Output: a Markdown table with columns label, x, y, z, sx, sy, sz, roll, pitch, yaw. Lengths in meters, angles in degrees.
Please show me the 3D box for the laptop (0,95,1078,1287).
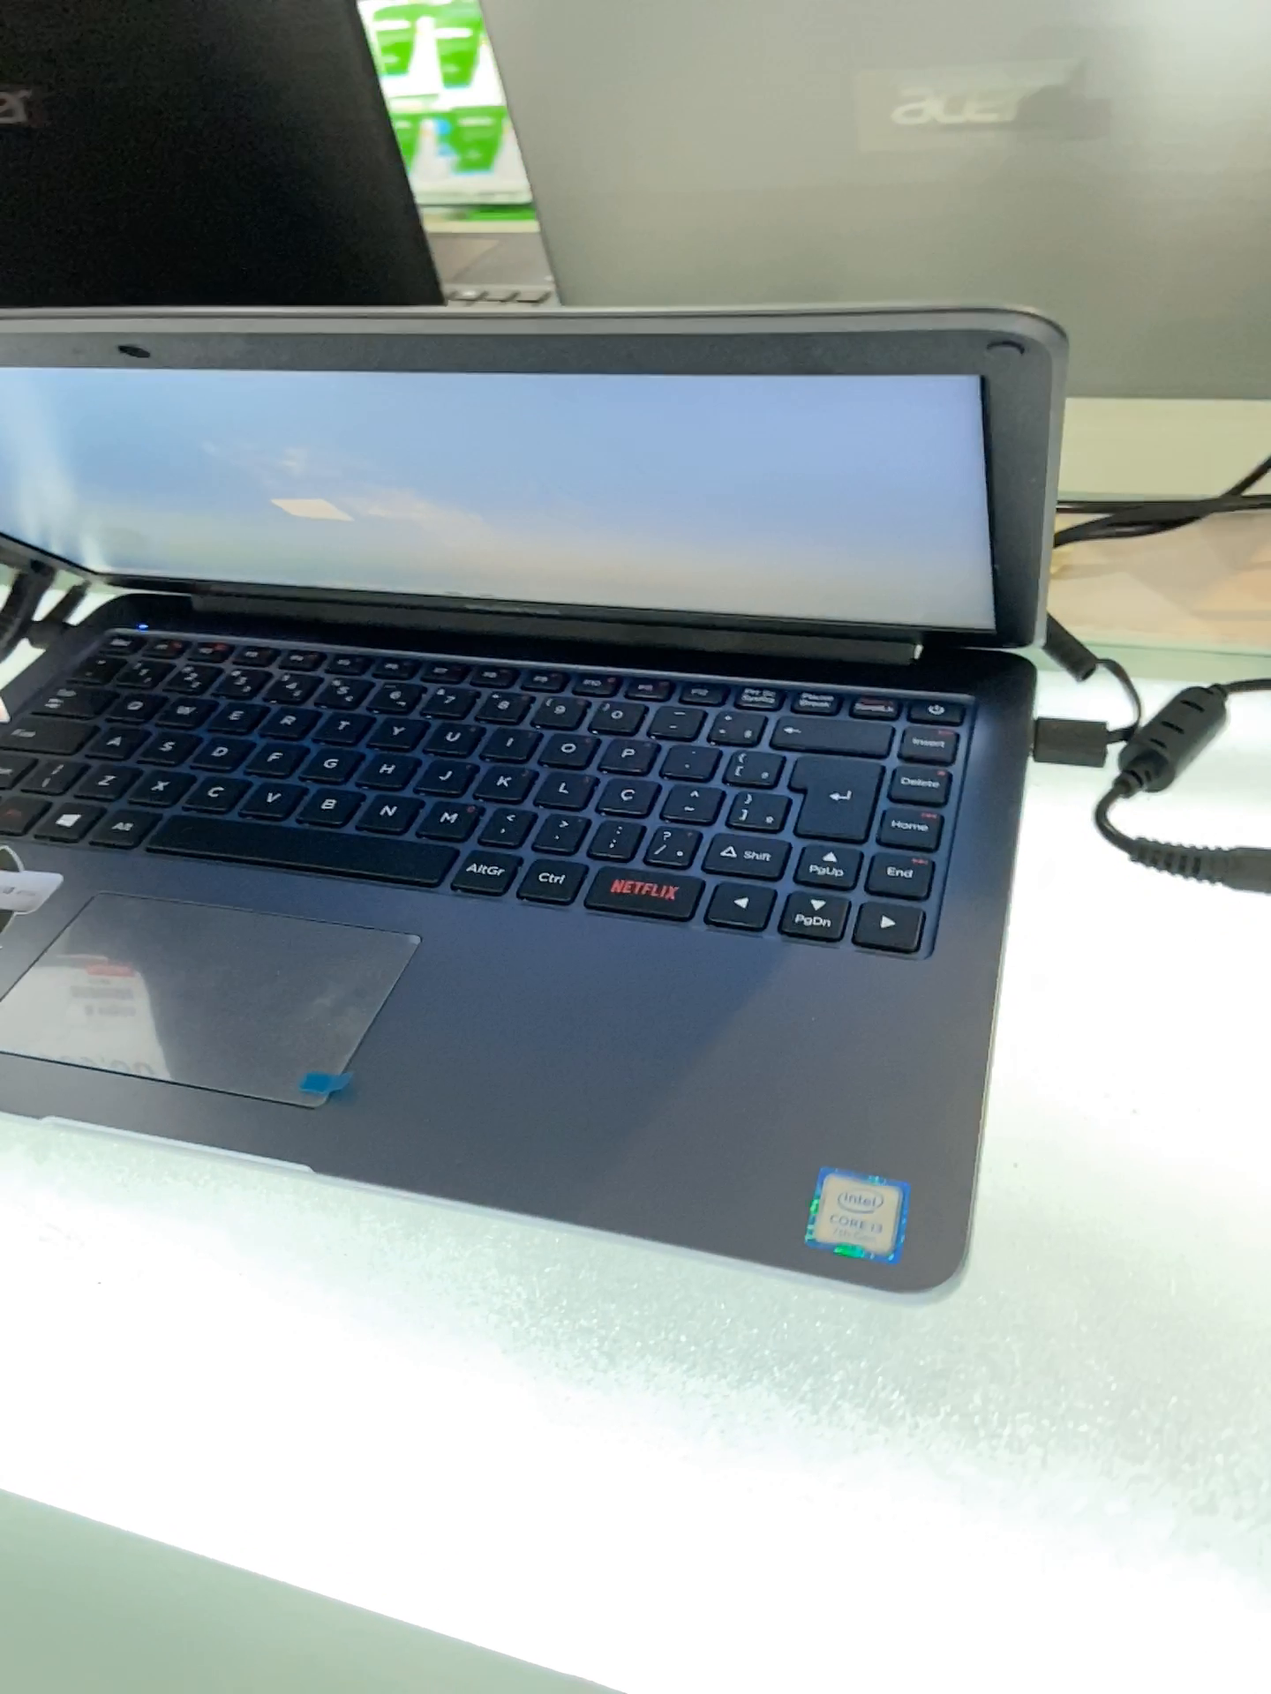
| label | x | y | z | sx | sy | sz | roll | pitch | yaw |
| --- | --- | --- | --- | --- | --- | --- | --- | --- | --- |
| laptop | -0.074 | -0.062 | 0.308 | 0.316 | 0.145 | 0.212 | 6 | 41 | 17 |
